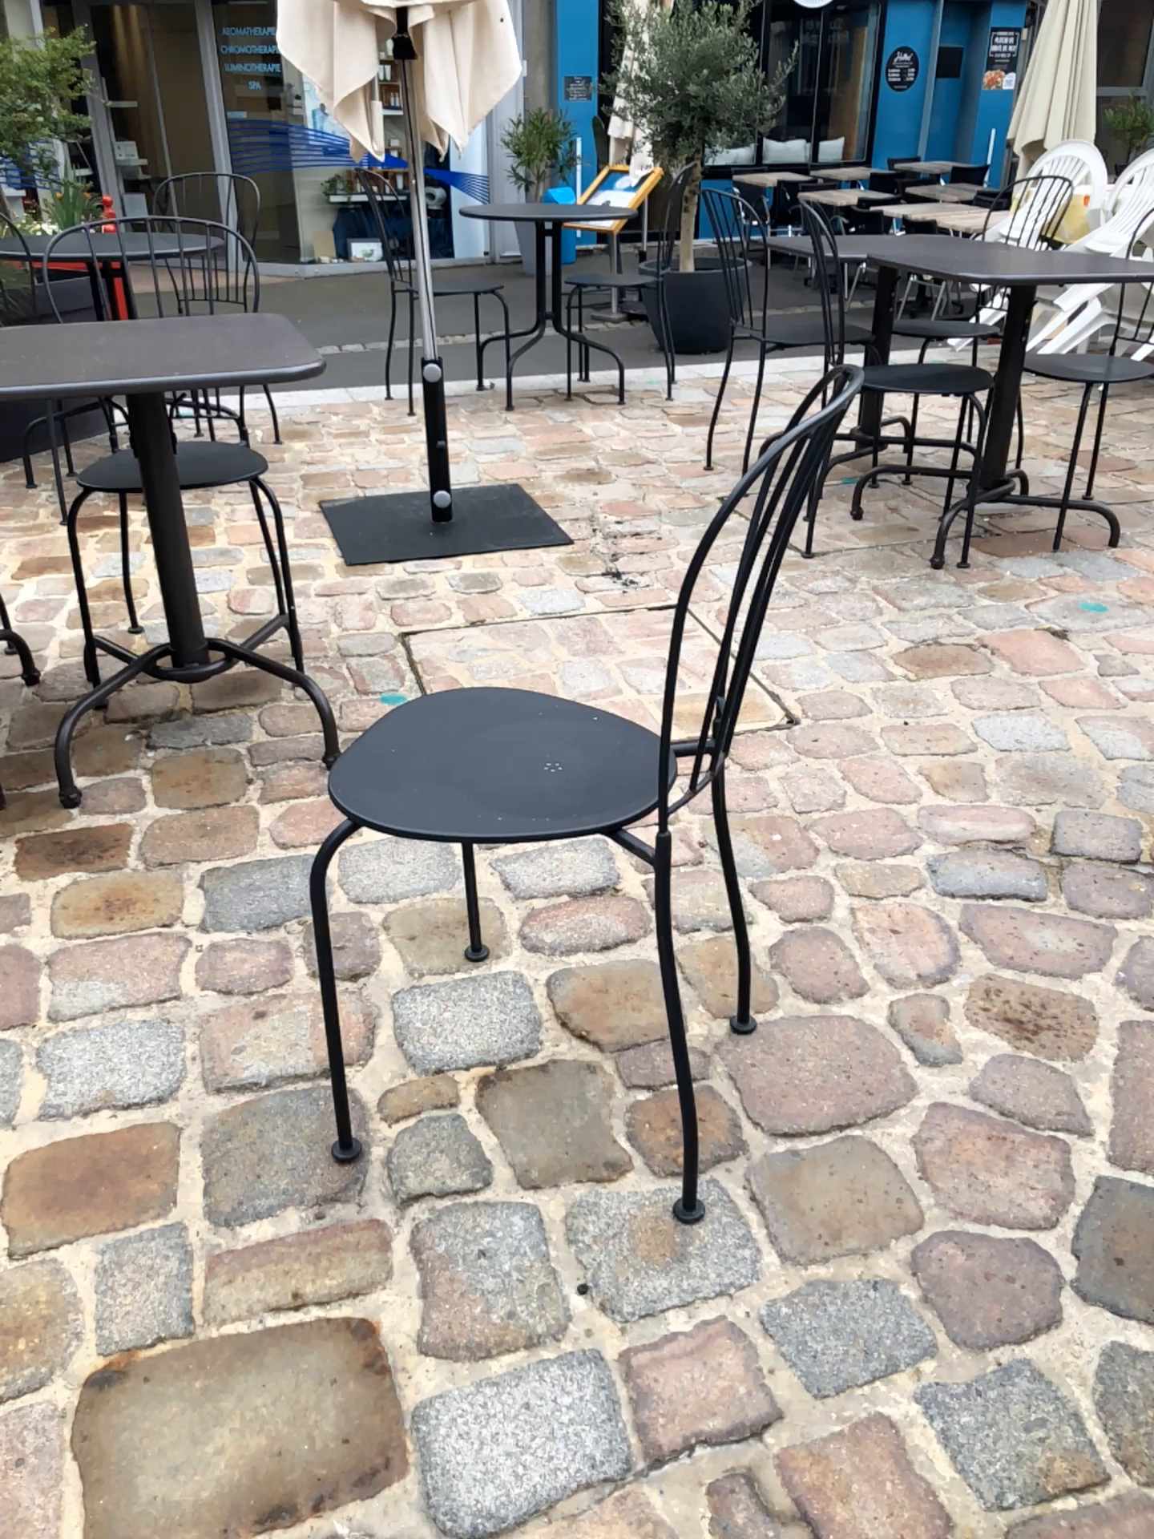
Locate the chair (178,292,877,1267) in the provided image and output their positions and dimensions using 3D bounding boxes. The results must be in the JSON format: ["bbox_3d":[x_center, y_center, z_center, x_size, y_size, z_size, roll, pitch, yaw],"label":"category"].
[{"bbox_3d":[-0.009,-0.012,1.244,0.470,0.795,0.423,9,29,16],"label":"chair"}]
